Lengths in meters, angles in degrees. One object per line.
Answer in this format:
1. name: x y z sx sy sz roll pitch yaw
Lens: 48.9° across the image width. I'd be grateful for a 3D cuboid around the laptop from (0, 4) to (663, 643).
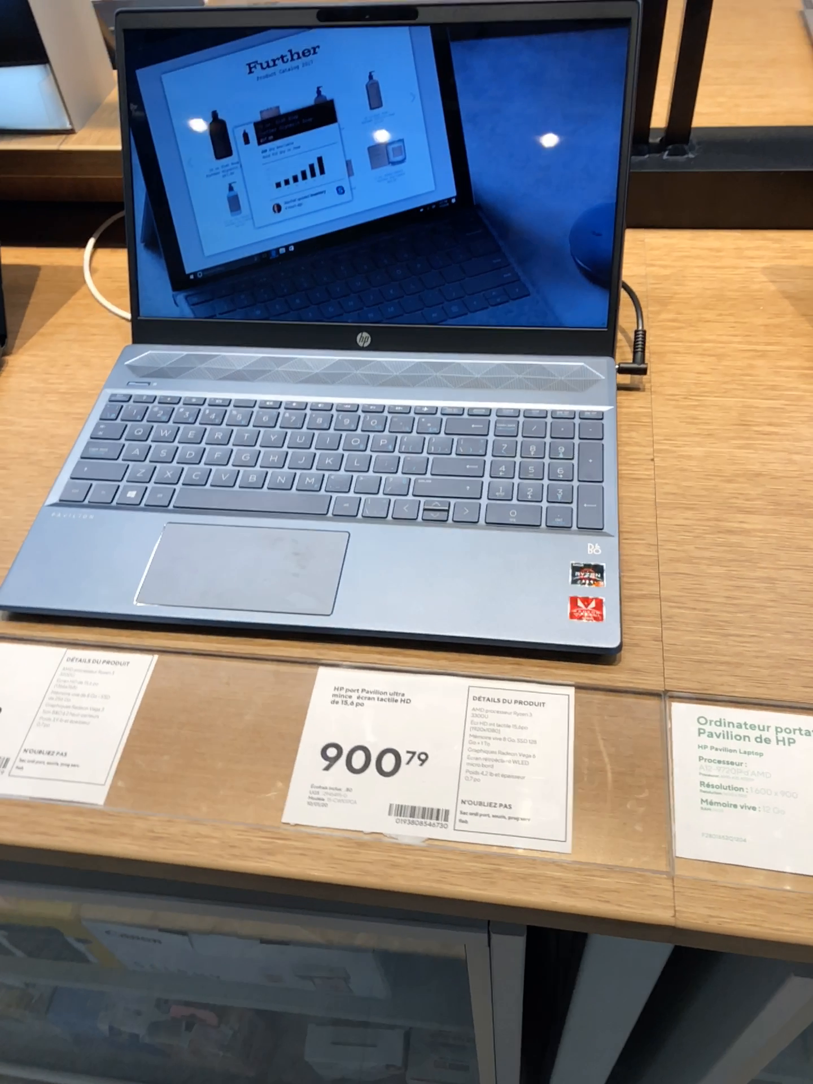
1. laptop: -0.046 -0.152 0.531 0.338 0.185 0.357 3 49 7
